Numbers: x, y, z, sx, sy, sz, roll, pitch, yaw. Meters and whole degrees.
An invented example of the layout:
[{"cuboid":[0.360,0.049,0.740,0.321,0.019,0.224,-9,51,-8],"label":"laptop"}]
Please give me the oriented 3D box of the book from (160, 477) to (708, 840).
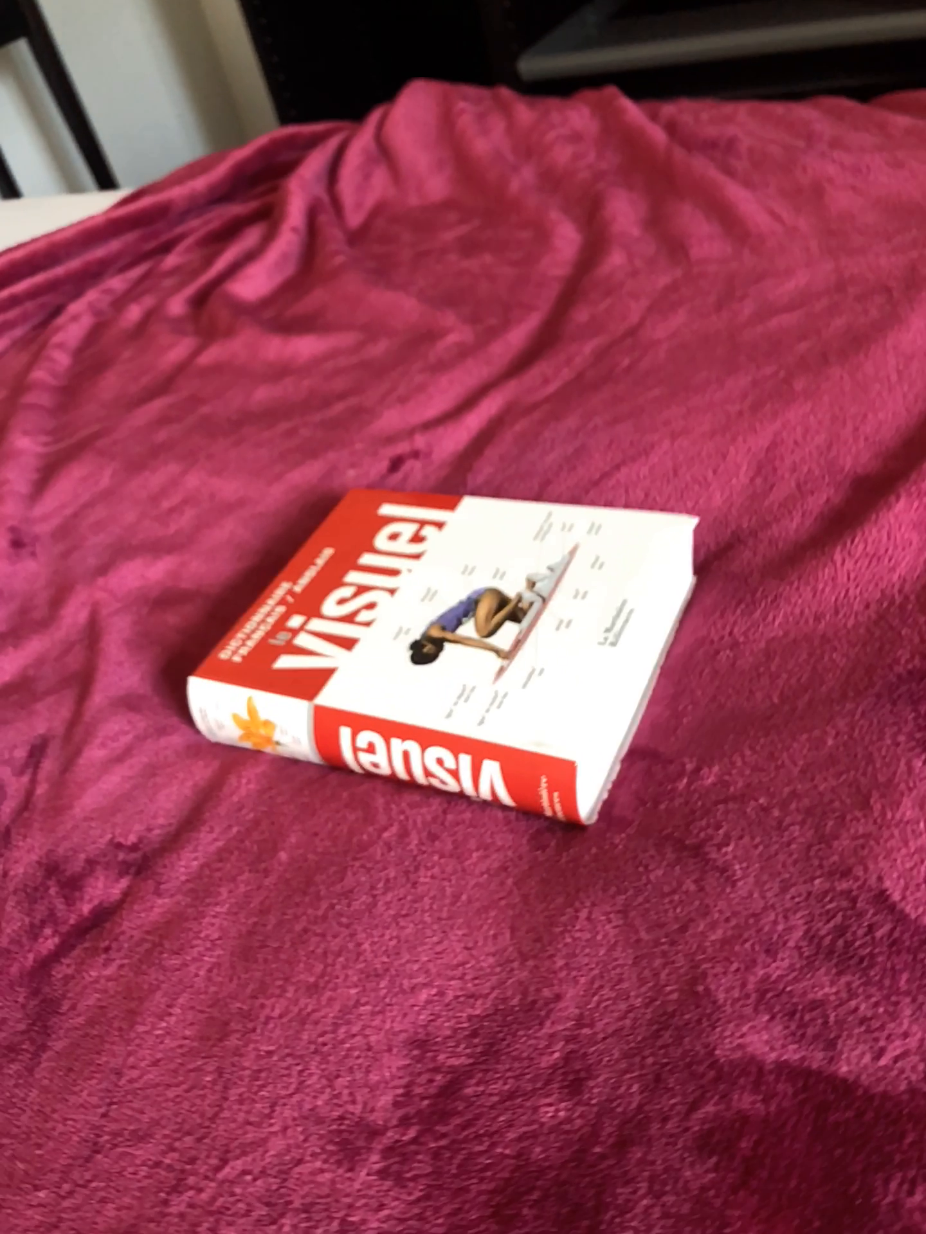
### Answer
[{"cuboid":[-0.008,0.004,0.428,0.180,0.039,0.141,9,45,28],"label":"book"}]
